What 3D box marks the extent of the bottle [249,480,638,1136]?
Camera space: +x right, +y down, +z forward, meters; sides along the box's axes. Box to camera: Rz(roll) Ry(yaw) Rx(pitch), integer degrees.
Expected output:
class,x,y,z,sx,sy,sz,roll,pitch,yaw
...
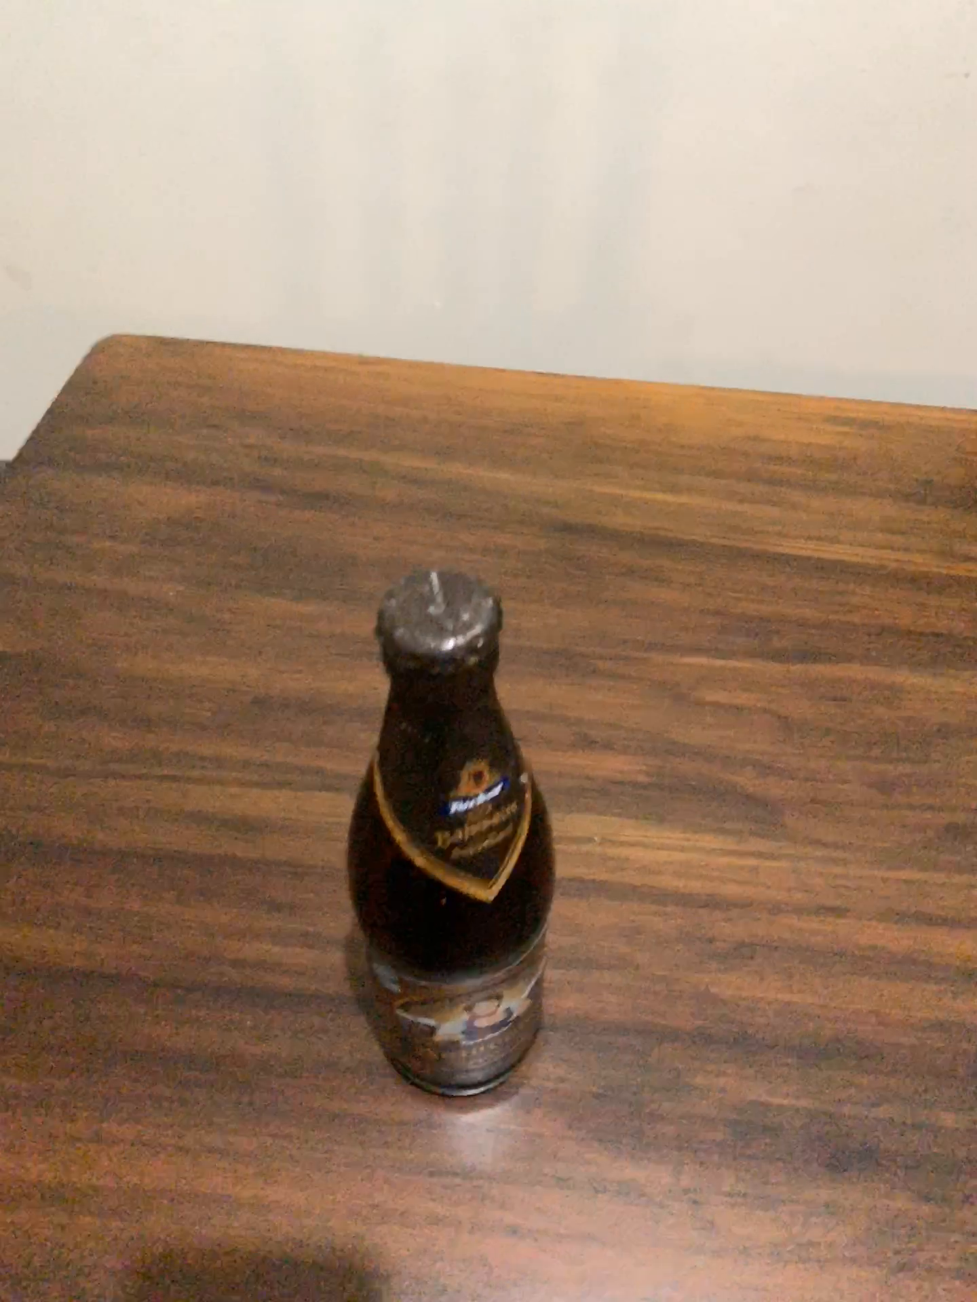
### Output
class,x,y,z,sx,sy,sz,roll,pitch,yaw
bottle,-0.011,0.076,0.328,0.070,0.269,0.060,-19,52,-15
